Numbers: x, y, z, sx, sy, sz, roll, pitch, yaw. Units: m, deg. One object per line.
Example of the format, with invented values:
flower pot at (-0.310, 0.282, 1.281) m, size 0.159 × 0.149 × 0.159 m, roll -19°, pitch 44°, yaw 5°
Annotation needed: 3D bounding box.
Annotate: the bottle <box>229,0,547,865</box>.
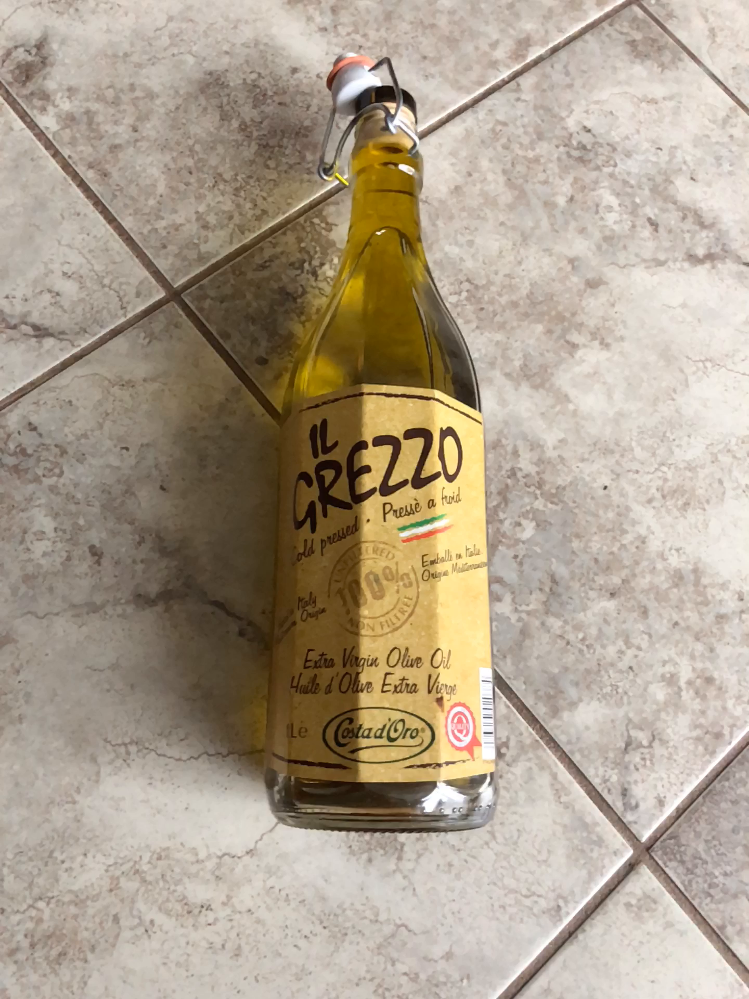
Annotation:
bottle at (0.004, -0.050, 0.333) m, size 0.090 × 0.100 × 0.350 m, roll 4°, pitch 72°, yaw -7°
